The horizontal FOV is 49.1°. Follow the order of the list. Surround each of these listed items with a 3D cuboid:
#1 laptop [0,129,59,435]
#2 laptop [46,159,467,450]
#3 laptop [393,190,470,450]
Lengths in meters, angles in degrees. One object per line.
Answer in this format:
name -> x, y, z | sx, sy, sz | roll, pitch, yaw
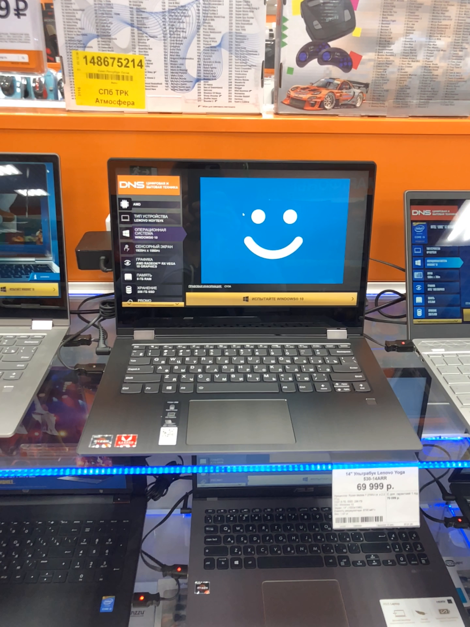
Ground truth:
laptop -> -0.374, -0.051, 0.556 | 0.284, 0.202, 0.287 | 0, 29, -8
laptop -> 0.013, -0.028, 0.551 | 0.319, 0.215, 0.256 | 0, 26, -3
laptop -> 0.396, -0.021, 0.601 | 0.315, 0.161, 0.311 | -1, 28, -2
